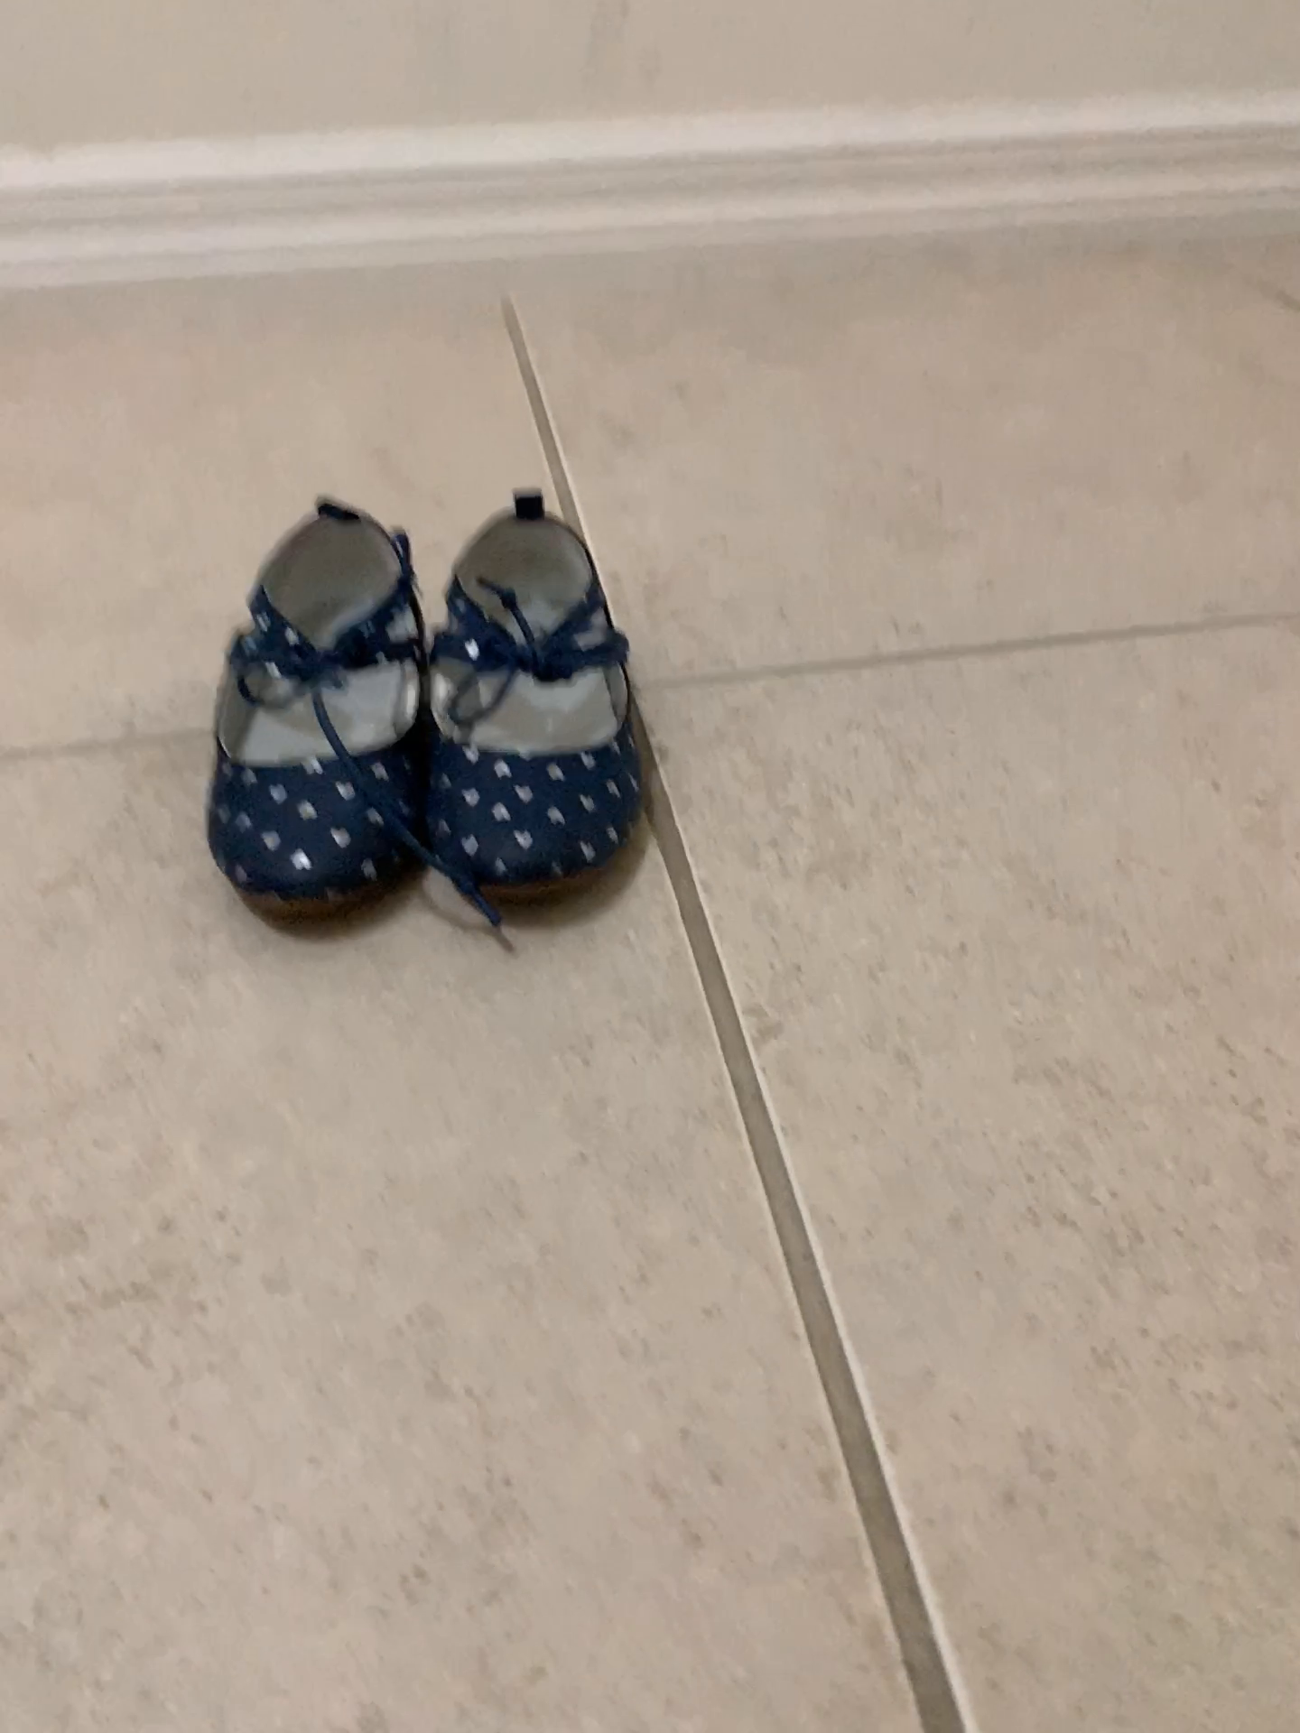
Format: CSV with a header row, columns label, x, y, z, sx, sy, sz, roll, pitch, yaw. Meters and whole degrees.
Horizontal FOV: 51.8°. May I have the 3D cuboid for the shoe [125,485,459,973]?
label,x,y,z,sx,sy,sz,roll,pitch,yaw
shoe,-0.100,-0.052,0.415,0.070,0.061,0.172,-3,40,-3

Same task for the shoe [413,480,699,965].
label,x,y,z,sx,sy,sz,roll,pitch,yaw
shoe,-0.030,-0.054,0.416,0.070,0.061,0.172,-3,40,-3
